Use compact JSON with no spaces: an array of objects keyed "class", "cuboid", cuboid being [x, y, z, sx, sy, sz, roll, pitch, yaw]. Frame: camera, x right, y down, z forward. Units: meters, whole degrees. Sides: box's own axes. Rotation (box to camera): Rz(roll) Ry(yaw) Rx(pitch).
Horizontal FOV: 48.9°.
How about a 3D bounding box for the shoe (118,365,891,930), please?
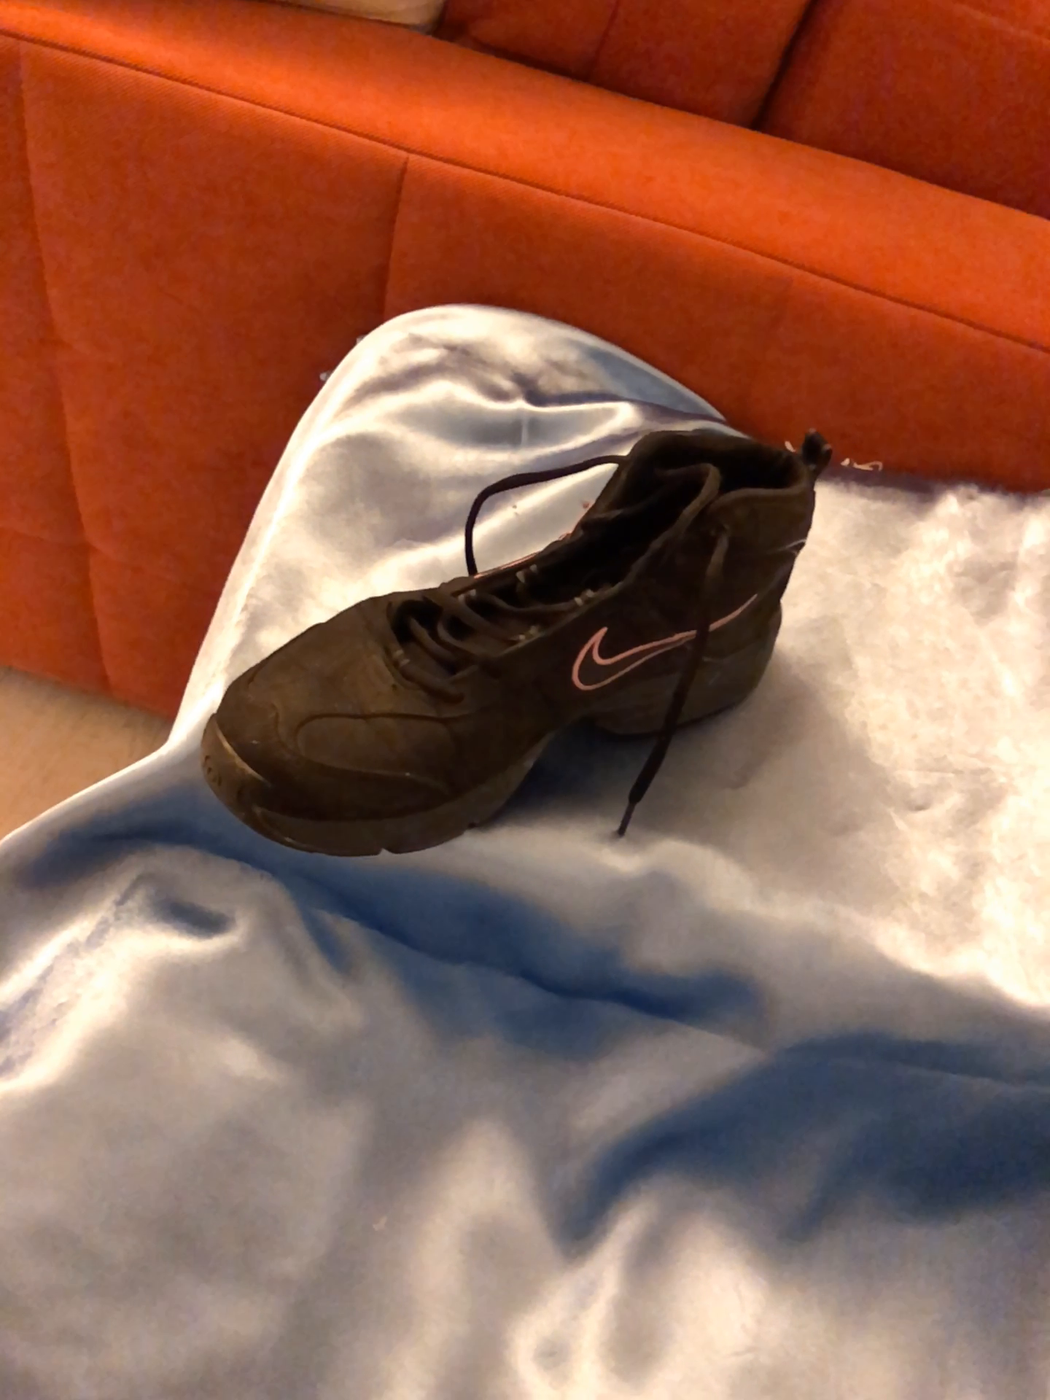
[{"class":"shoe","cuboid":[-0.005,-0.031,0.449,0.261,0.099,0.107,-21,60,-26]}]
